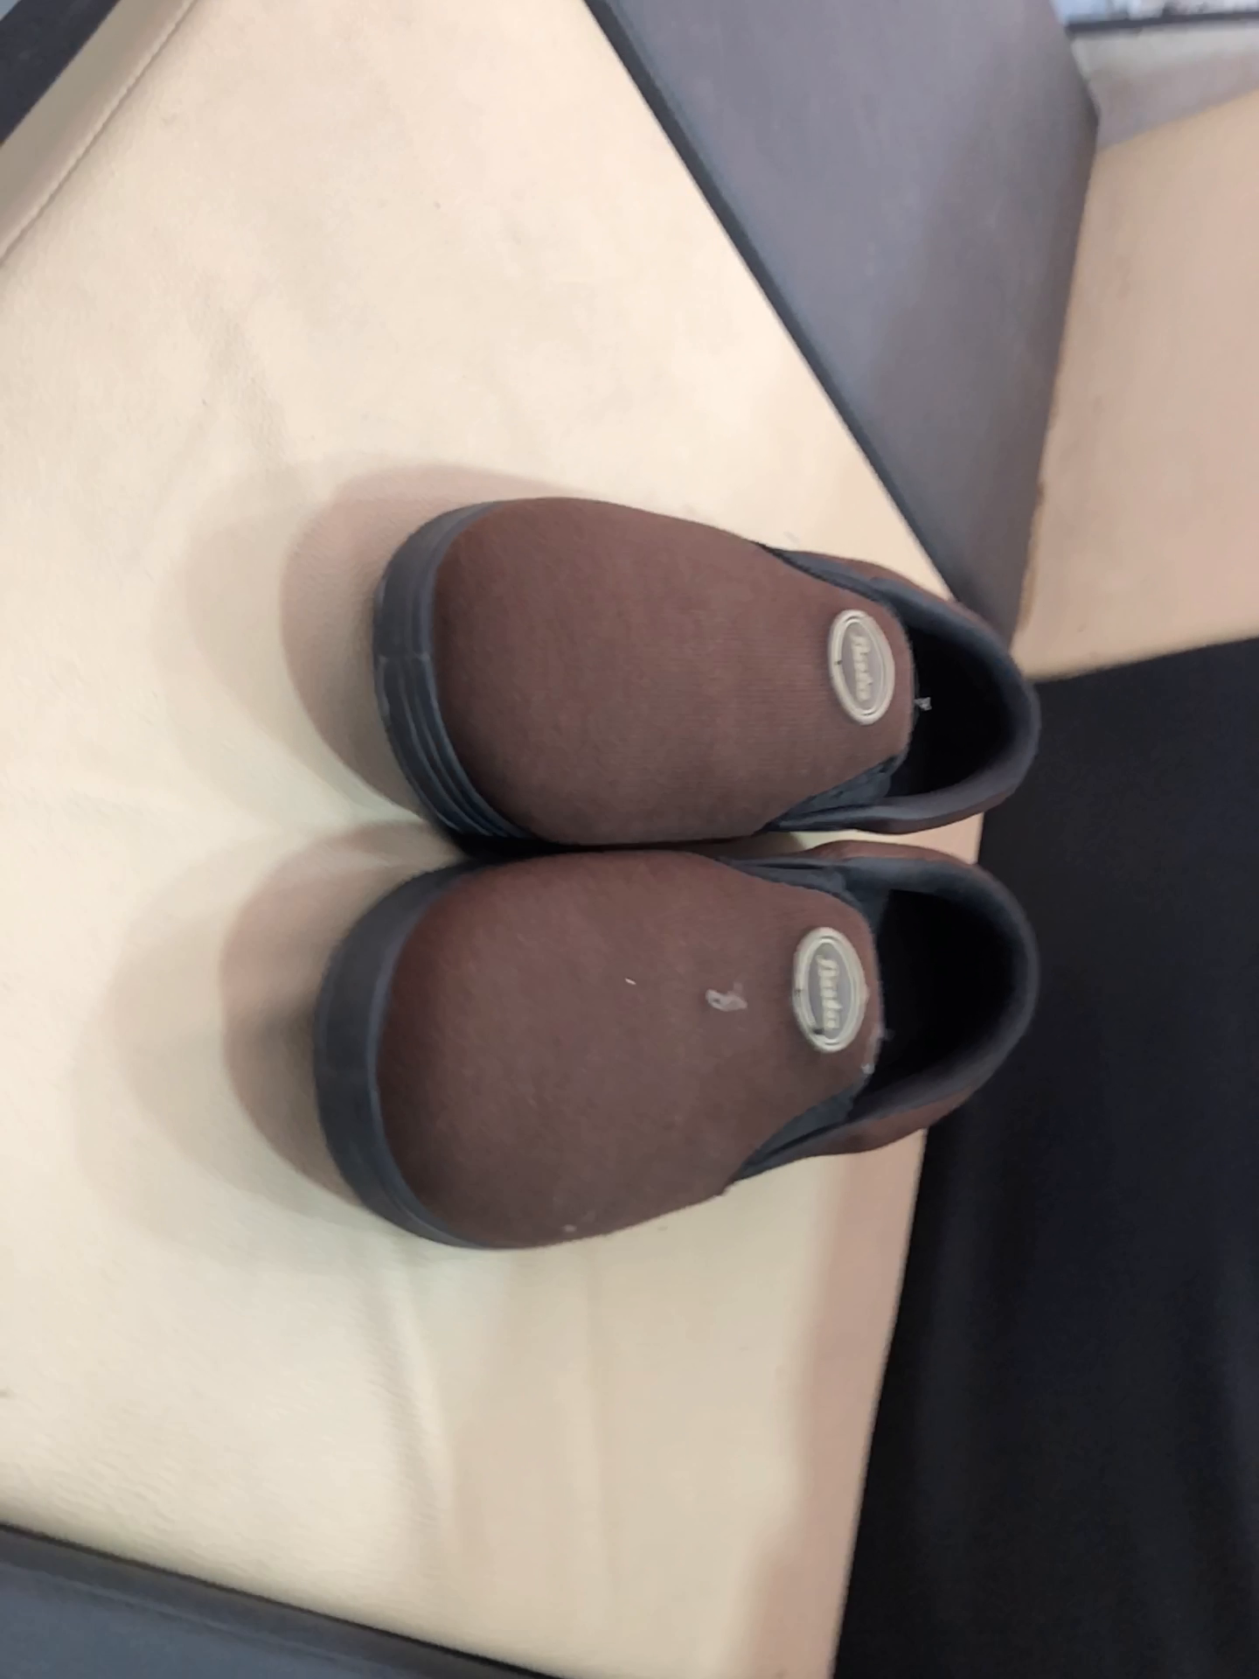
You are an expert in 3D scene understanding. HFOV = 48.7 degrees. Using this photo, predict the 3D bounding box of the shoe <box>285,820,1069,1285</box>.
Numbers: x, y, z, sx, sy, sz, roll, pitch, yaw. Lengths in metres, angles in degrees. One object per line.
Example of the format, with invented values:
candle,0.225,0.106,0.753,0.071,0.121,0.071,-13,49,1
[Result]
shoe,0.037,0.045,0.403,0.272,0.079,0.090,0,85,-53

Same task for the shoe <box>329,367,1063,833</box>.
shoe,0.039,-0.051,0.420,0.252,0.089,0.090,0,85,-53
